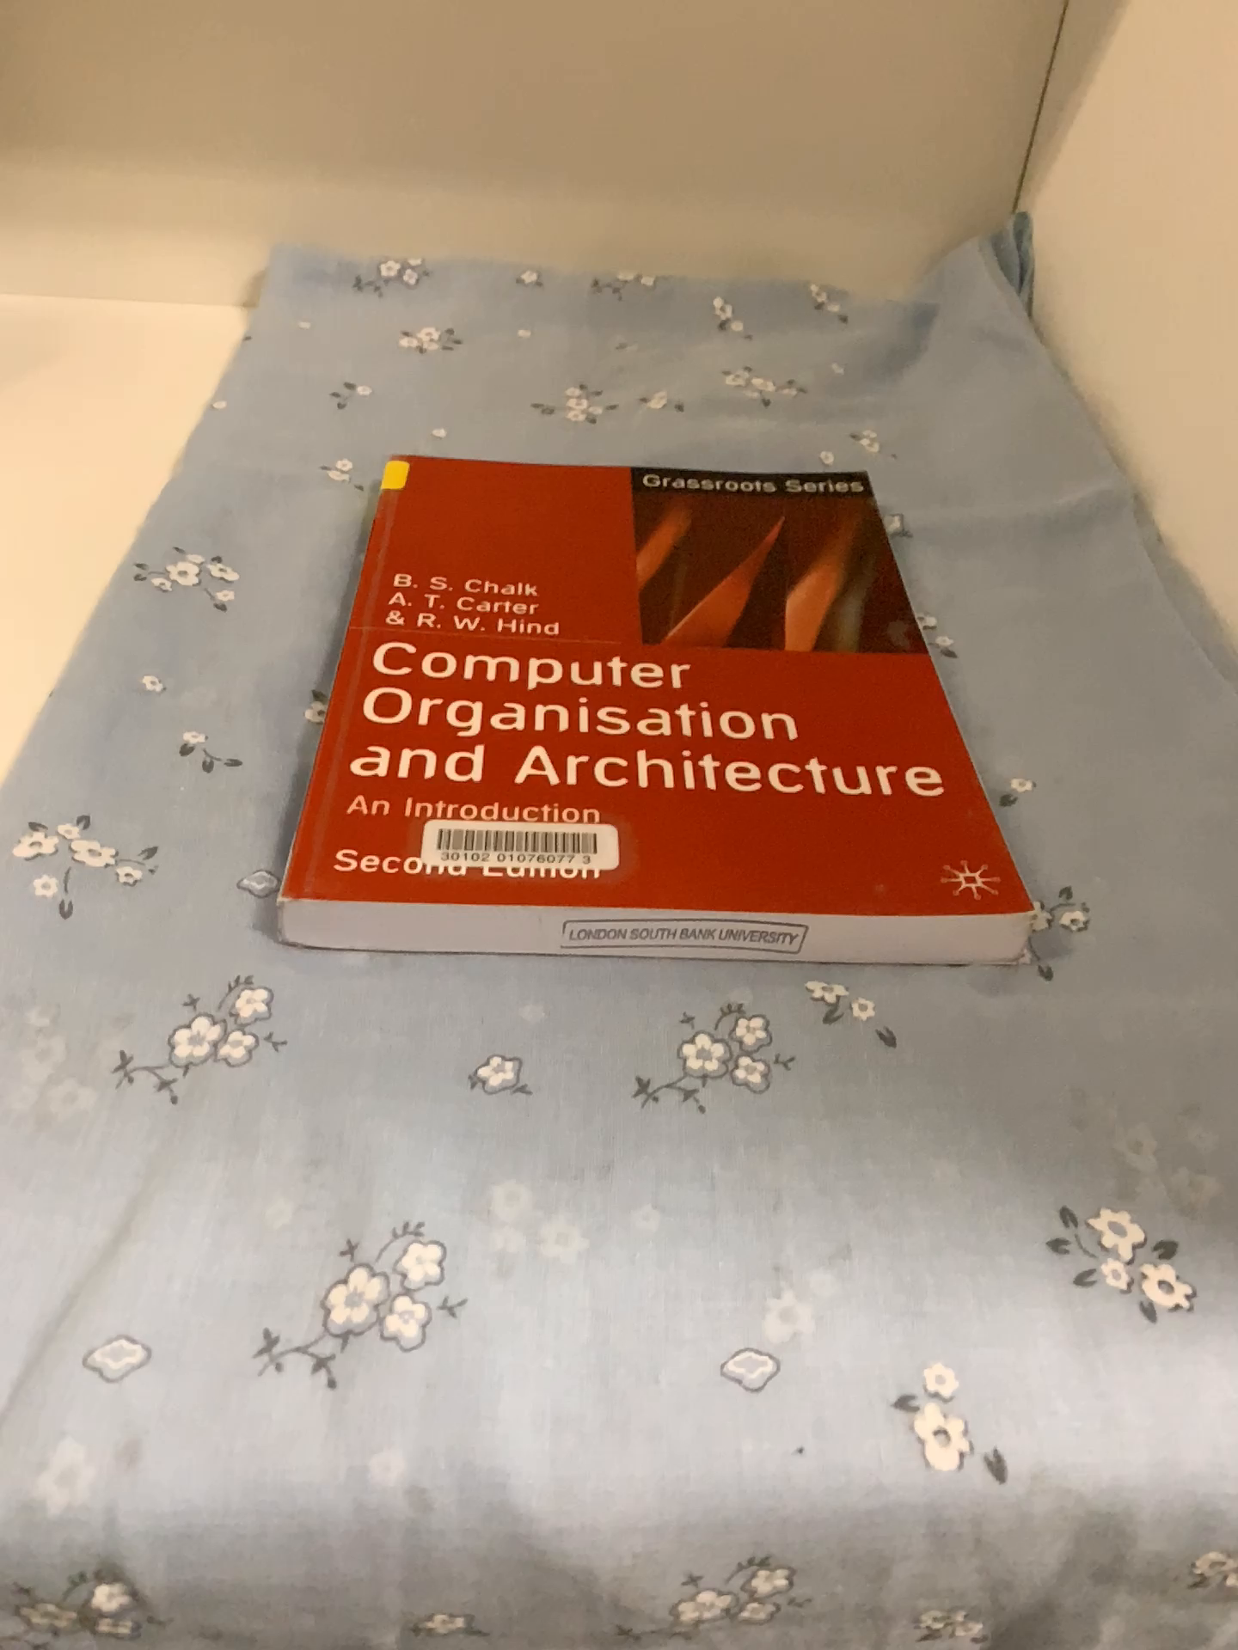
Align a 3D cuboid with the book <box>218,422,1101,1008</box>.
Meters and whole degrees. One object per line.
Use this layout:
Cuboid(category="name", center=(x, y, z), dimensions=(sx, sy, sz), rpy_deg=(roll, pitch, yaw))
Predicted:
Cuboid(category="book", center=(0.007, -0.056, 0.415), dimensions=(0.210, 0.030, 0.273), rpy_deg=(2, 40, -4))
